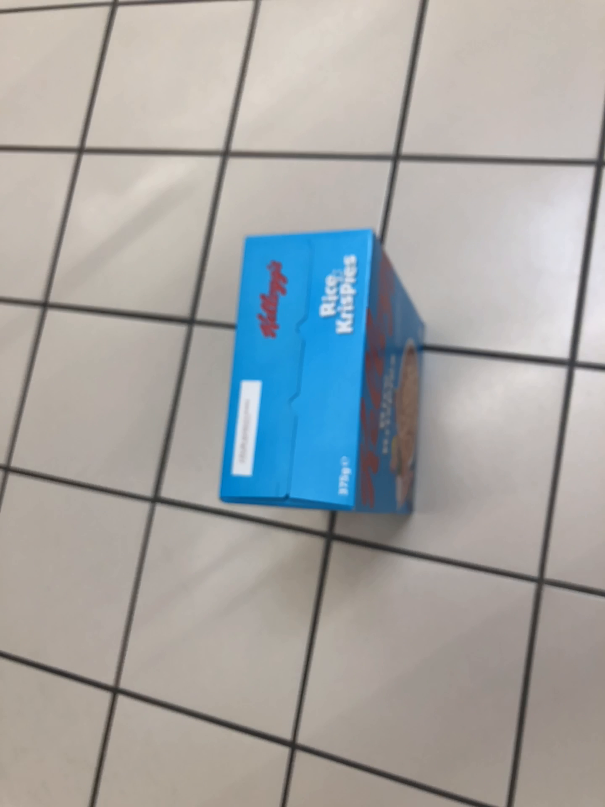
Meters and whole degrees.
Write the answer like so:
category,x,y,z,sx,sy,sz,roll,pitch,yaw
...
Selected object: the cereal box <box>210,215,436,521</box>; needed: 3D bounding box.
category,x,y,z,sx,sy,sz,roll,pitch,yaw
cereal box,0.036,-0.009,0.564,0.110,0.240,0.200,3,82,18
